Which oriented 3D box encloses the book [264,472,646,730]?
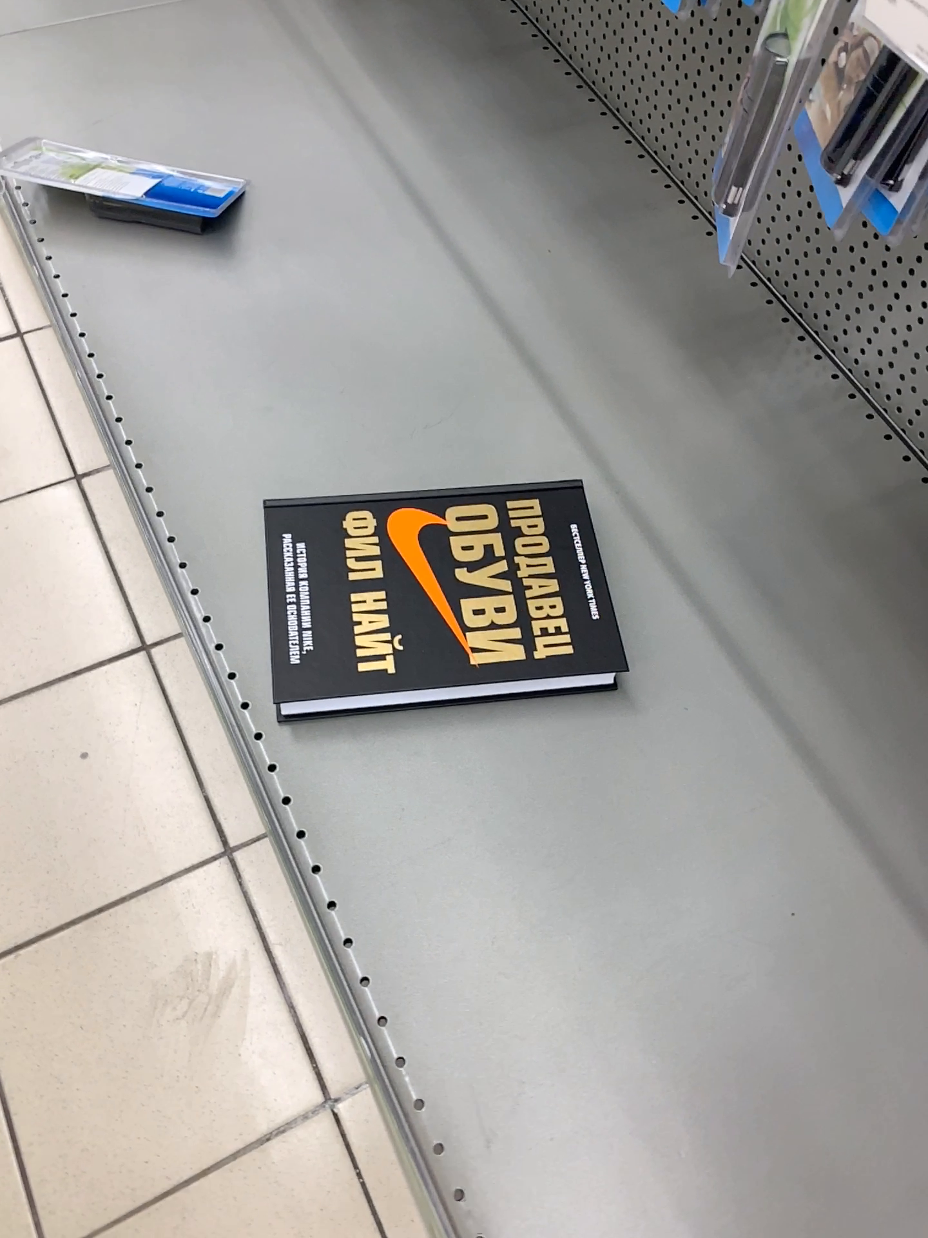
[{"bbox_3d":[-0.013,-0.018,0.687,0.249,0.049,0.166,-4,61,-8],"label":"book"}]
